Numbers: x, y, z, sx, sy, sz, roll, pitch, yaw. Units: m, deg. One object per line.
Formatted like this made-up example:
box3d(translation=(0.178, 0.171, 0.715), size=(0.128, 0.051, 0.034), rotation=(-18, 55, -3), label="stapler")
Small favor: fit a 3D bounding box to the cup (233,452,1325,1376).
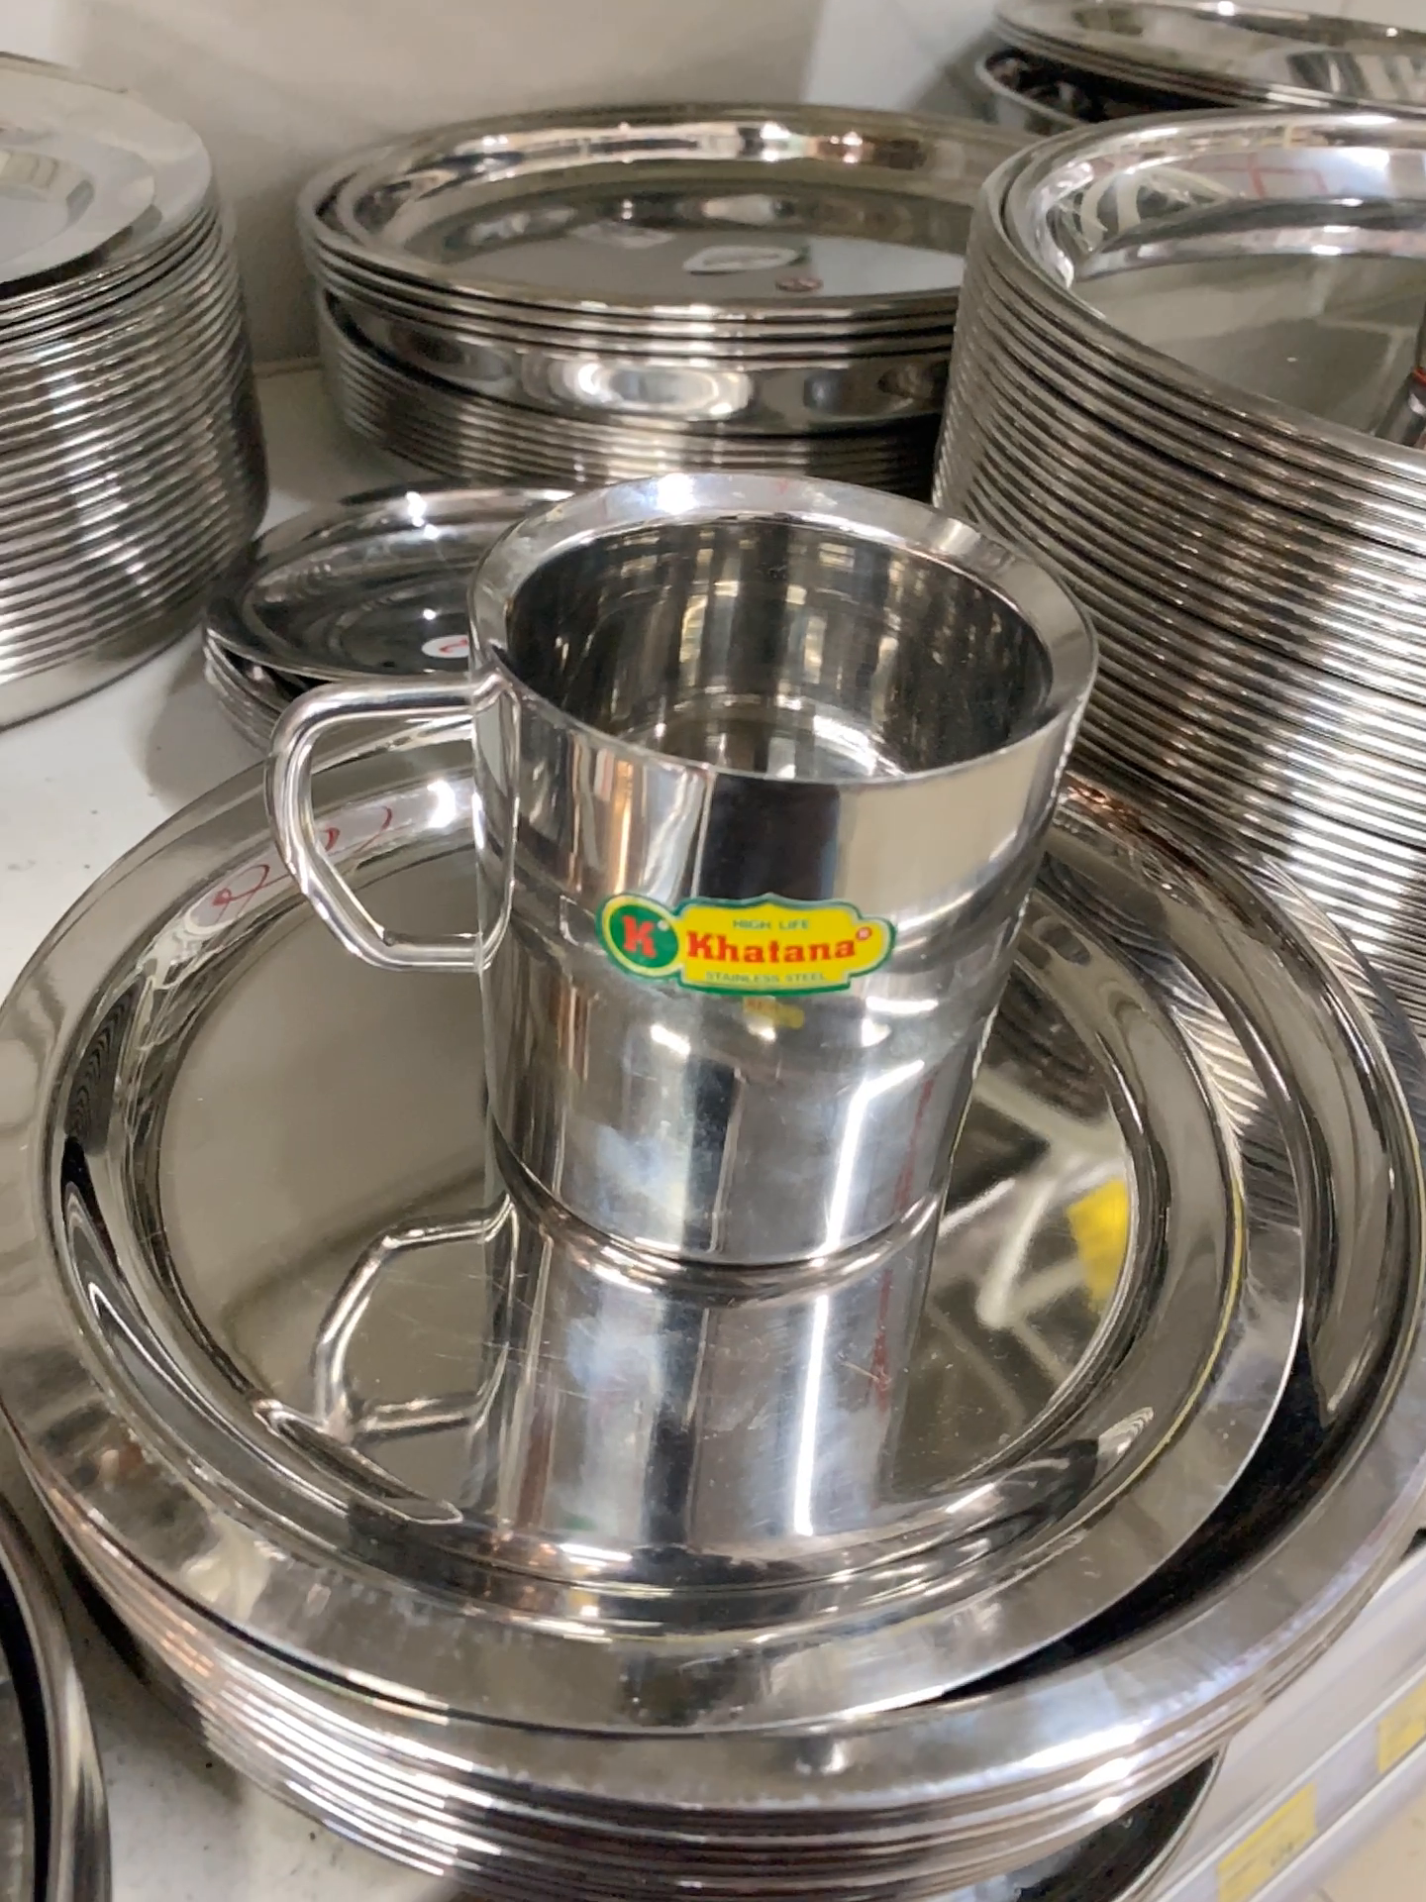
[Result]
box3d(translation=(0.001, -0.008, 0.204), size=(0.110, 0.090, 0.080), rotation=(-4, 40, -9), label="cup")
